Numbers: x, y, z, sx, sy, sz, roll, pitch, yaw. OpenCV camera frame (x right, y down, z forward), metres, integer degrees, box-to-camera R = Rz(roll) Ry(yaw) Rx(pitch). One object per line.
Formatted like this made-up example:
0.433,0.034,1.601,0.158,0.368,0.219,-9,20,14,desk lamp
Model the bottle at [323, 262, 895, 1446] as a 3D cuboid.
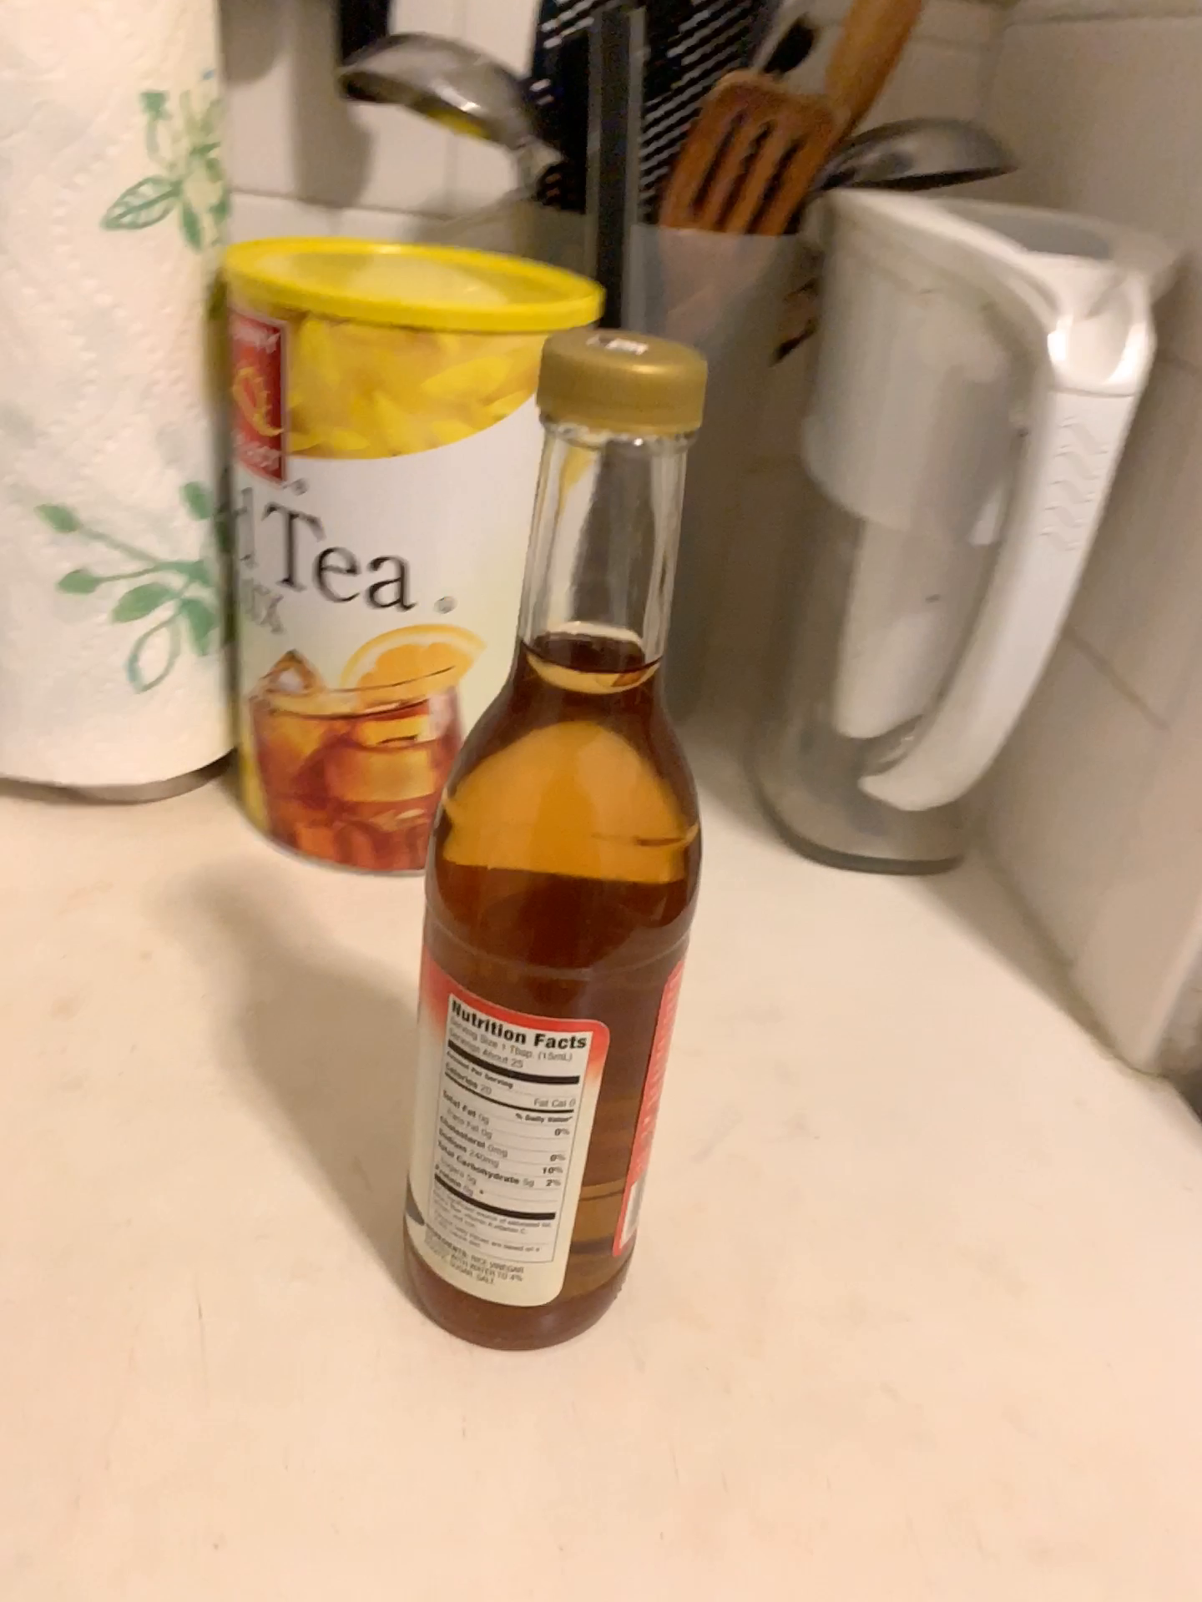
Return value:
-0.007,0.021,0.267,0.070,0.239,0.070,7,29,-4,bottle
